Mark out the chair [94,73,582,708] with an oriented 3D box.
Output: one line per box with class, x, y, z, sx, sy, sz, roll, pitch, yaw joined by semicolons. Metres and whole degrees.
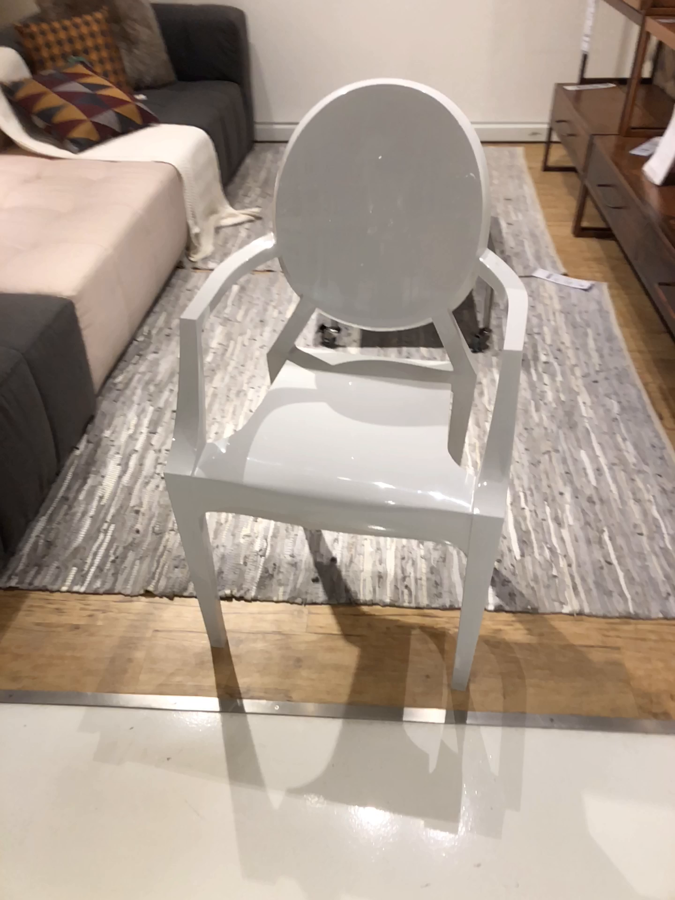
chair;0.046;-0.099;1.232;0.510;0.843;0.555;6;38;9
